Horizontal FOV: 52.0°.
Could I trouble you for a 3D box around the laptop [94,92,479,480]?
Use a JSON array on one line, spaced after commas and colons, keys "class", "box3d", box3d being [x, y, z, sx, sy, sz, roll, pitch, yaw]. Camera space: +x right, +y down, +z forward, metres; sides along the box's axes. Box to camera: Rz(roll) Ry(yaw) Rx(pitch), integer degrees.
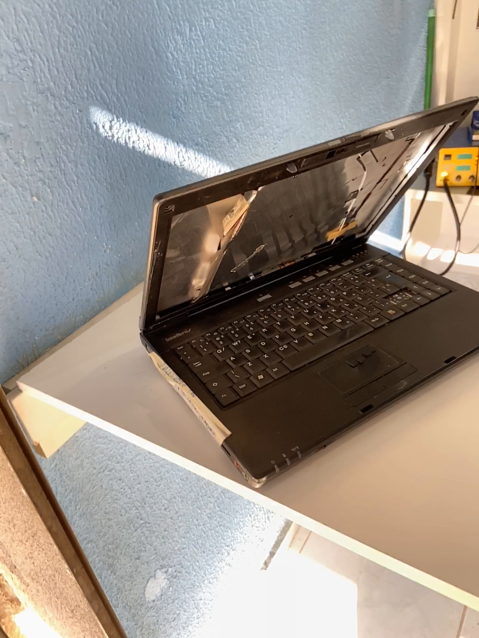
[{"class": "laptop", "box3d": [0.079, -0.071, 0.459, 0.323, 0.191, 0.232, -24, 36, -23]}]
